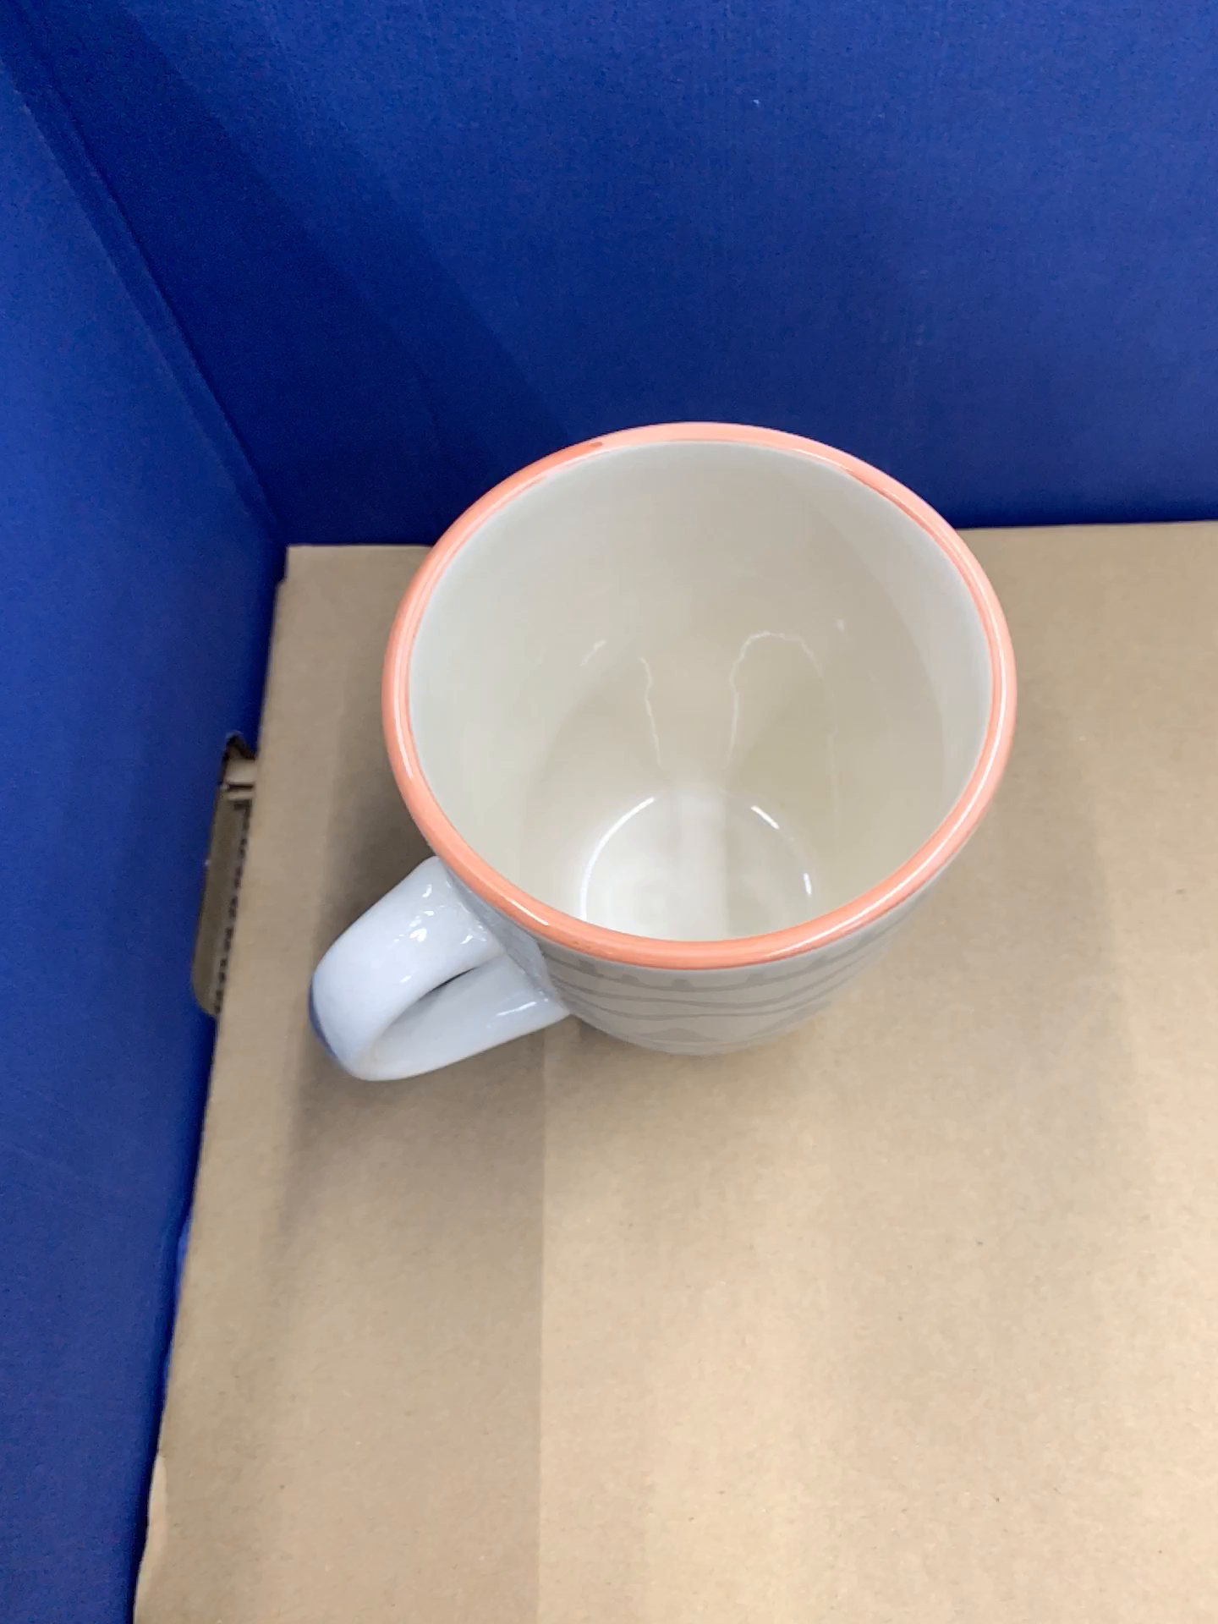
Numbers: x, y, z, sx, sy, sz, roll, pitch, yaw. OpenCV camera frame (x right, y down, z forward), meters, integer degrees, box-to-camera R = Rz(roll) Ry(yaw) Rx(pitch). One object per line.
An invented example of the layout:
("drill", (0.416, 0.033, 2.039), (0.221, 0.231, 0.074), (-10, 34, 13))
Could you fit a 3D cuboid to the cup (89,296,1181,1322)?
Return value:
("cup", (0.005, 0.001, 0.214), (0.119, 0.082, 0.097), (-40, 66, -13))
